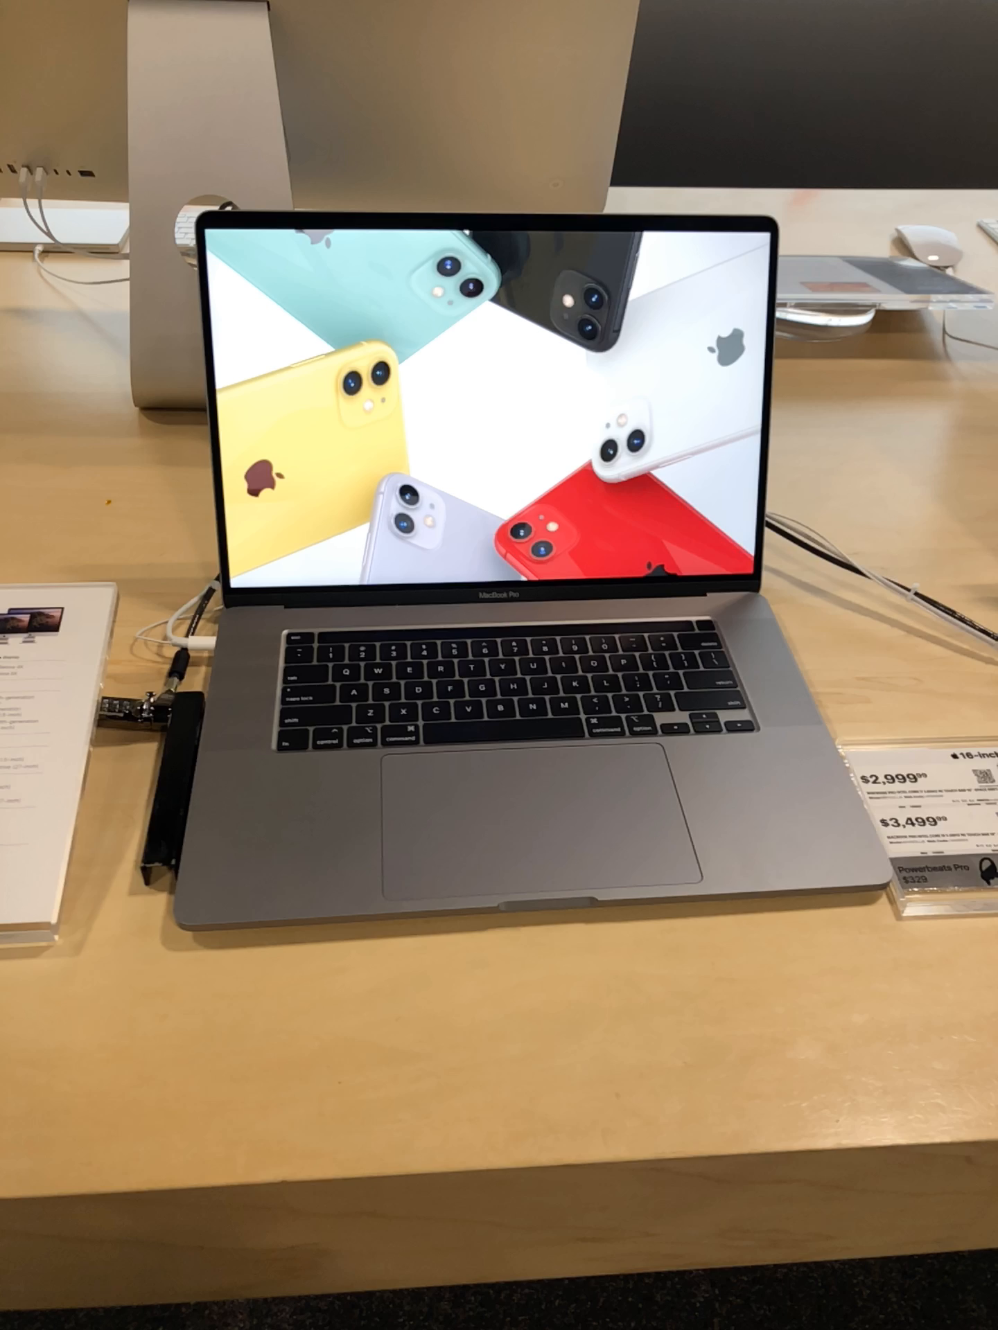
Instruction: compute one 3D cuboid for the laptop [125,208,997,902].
[{"bbox_3d":[0.012,-0.079,0.595,0.335,0.204,0.350,-2,42,-4],"label":"laptop"}]
